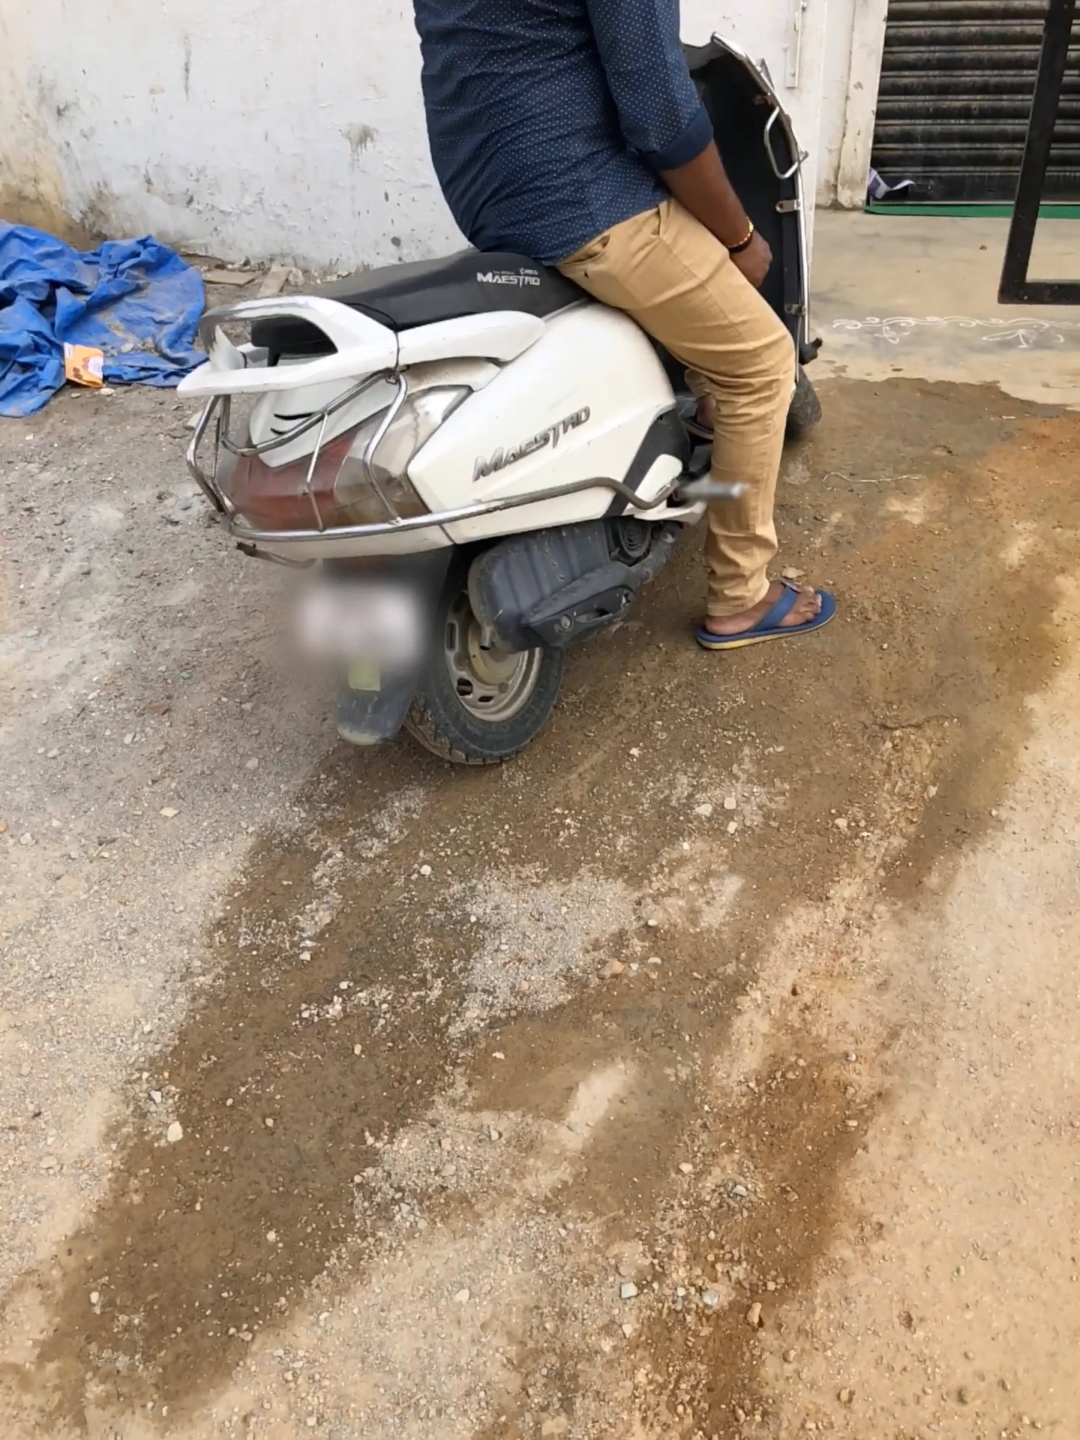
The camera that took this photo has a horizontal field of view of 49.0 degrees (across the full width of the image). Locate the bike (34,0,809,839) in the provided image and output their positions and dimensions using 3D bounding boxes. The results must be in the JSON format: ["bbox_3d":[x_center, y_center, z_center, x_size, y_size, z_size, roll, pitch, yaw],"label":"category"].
[{"bbox_3d":[-0.035,-0.902,2.198,0.599,1.231,1.565,12,42,21],"label":"bike"}]
